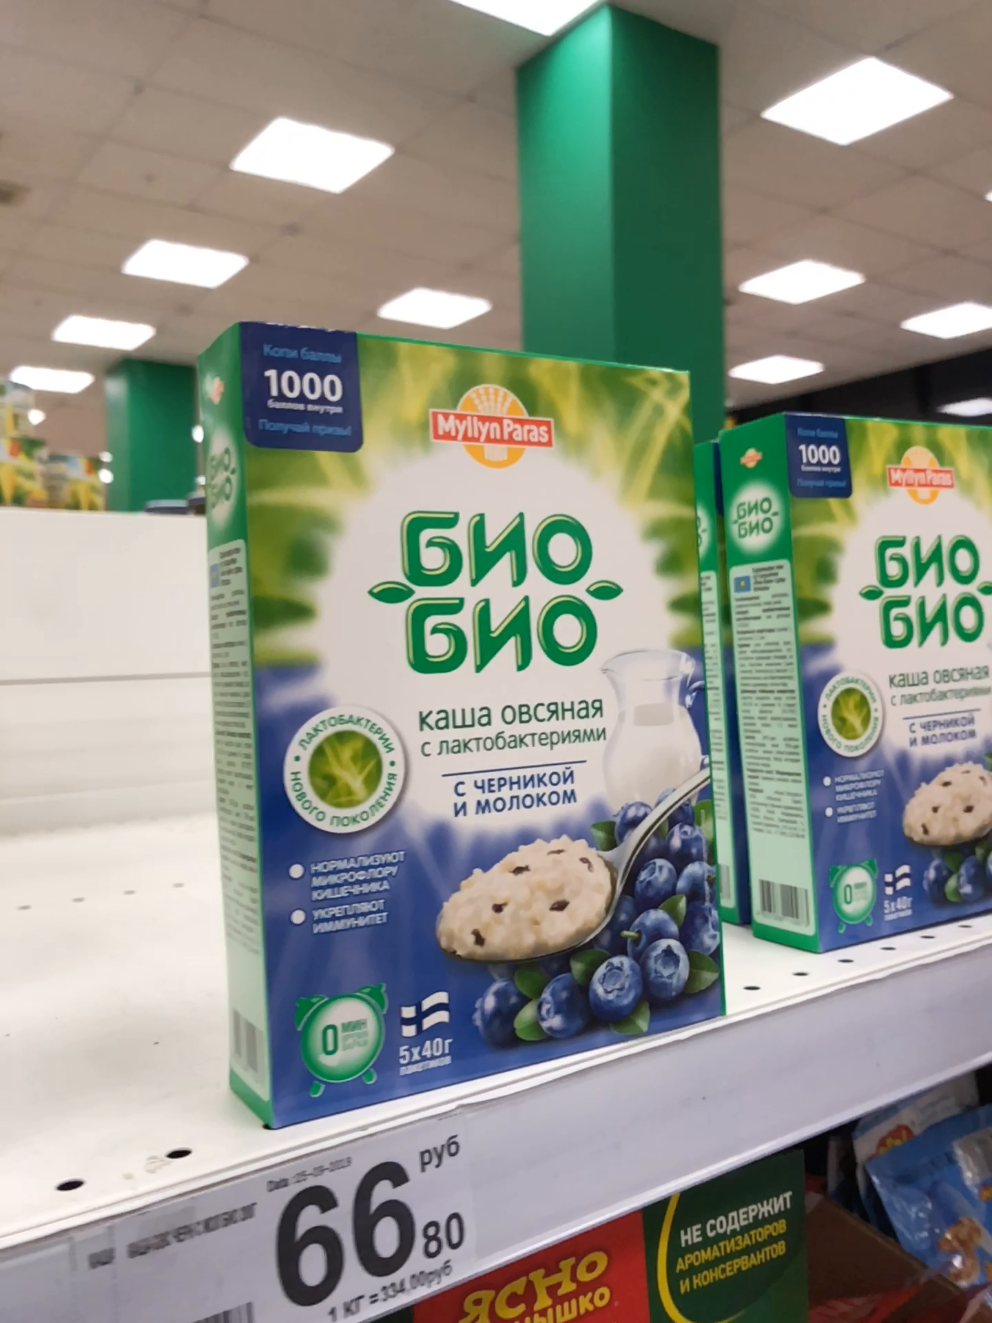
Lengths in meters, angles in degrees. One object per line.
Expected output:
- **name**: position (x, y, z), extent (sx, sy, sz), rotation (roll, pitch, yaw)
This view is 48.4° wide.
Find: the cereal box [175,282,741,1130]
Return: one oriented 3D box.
- **cereal box**: position (-0.006, 0.008, 0.330), extent (0.160, 0.210, 0.040), rotation (-2, -2, -30)
